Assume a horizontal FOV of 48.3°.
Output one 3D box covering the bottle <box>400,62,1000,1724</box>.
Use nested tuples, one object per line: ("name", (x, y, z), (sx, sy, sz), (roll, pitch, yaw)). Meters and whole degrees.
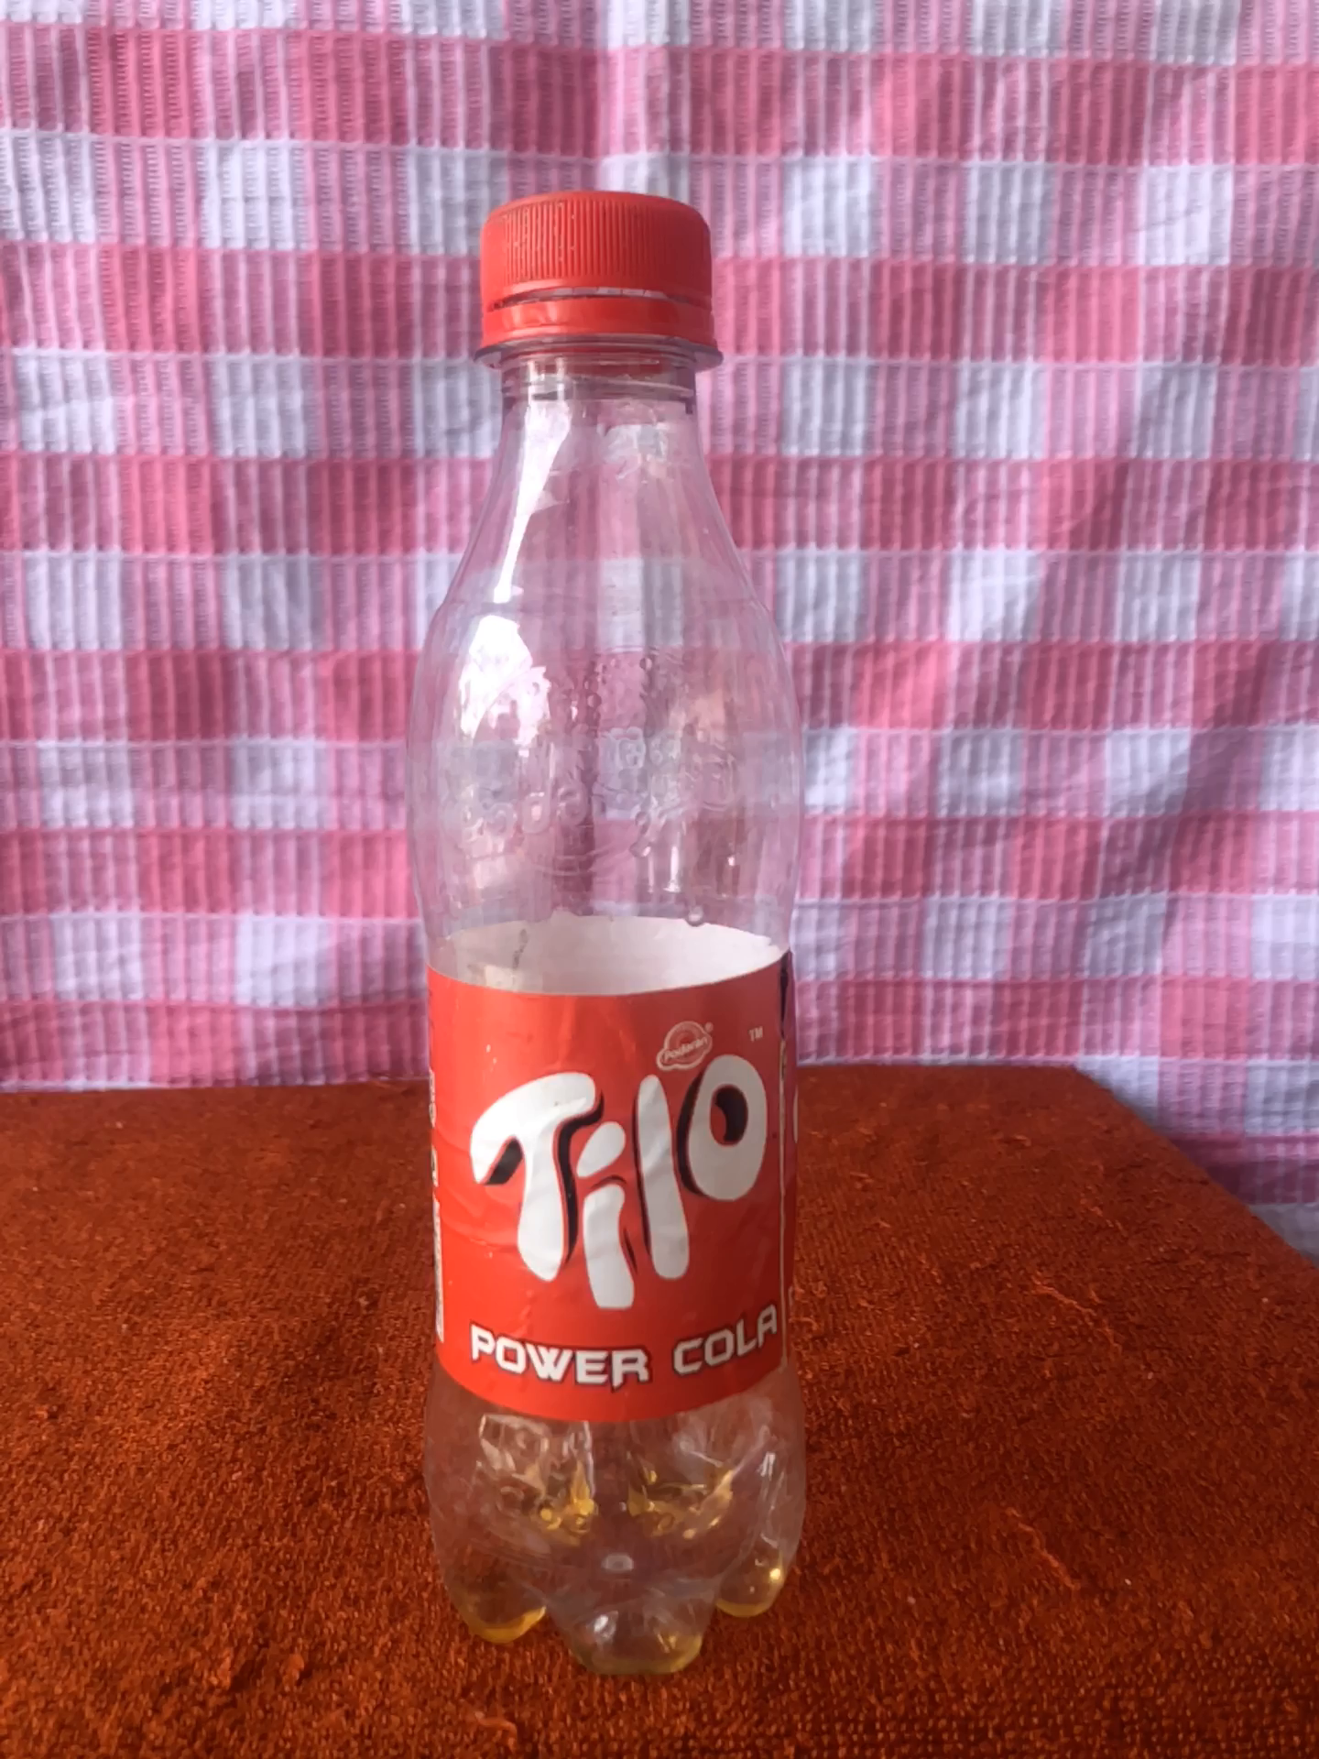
("bottle", (-0.004, 0.006, 0.197), (0.060, 0.189, 0.060), (2, 14, -1))
